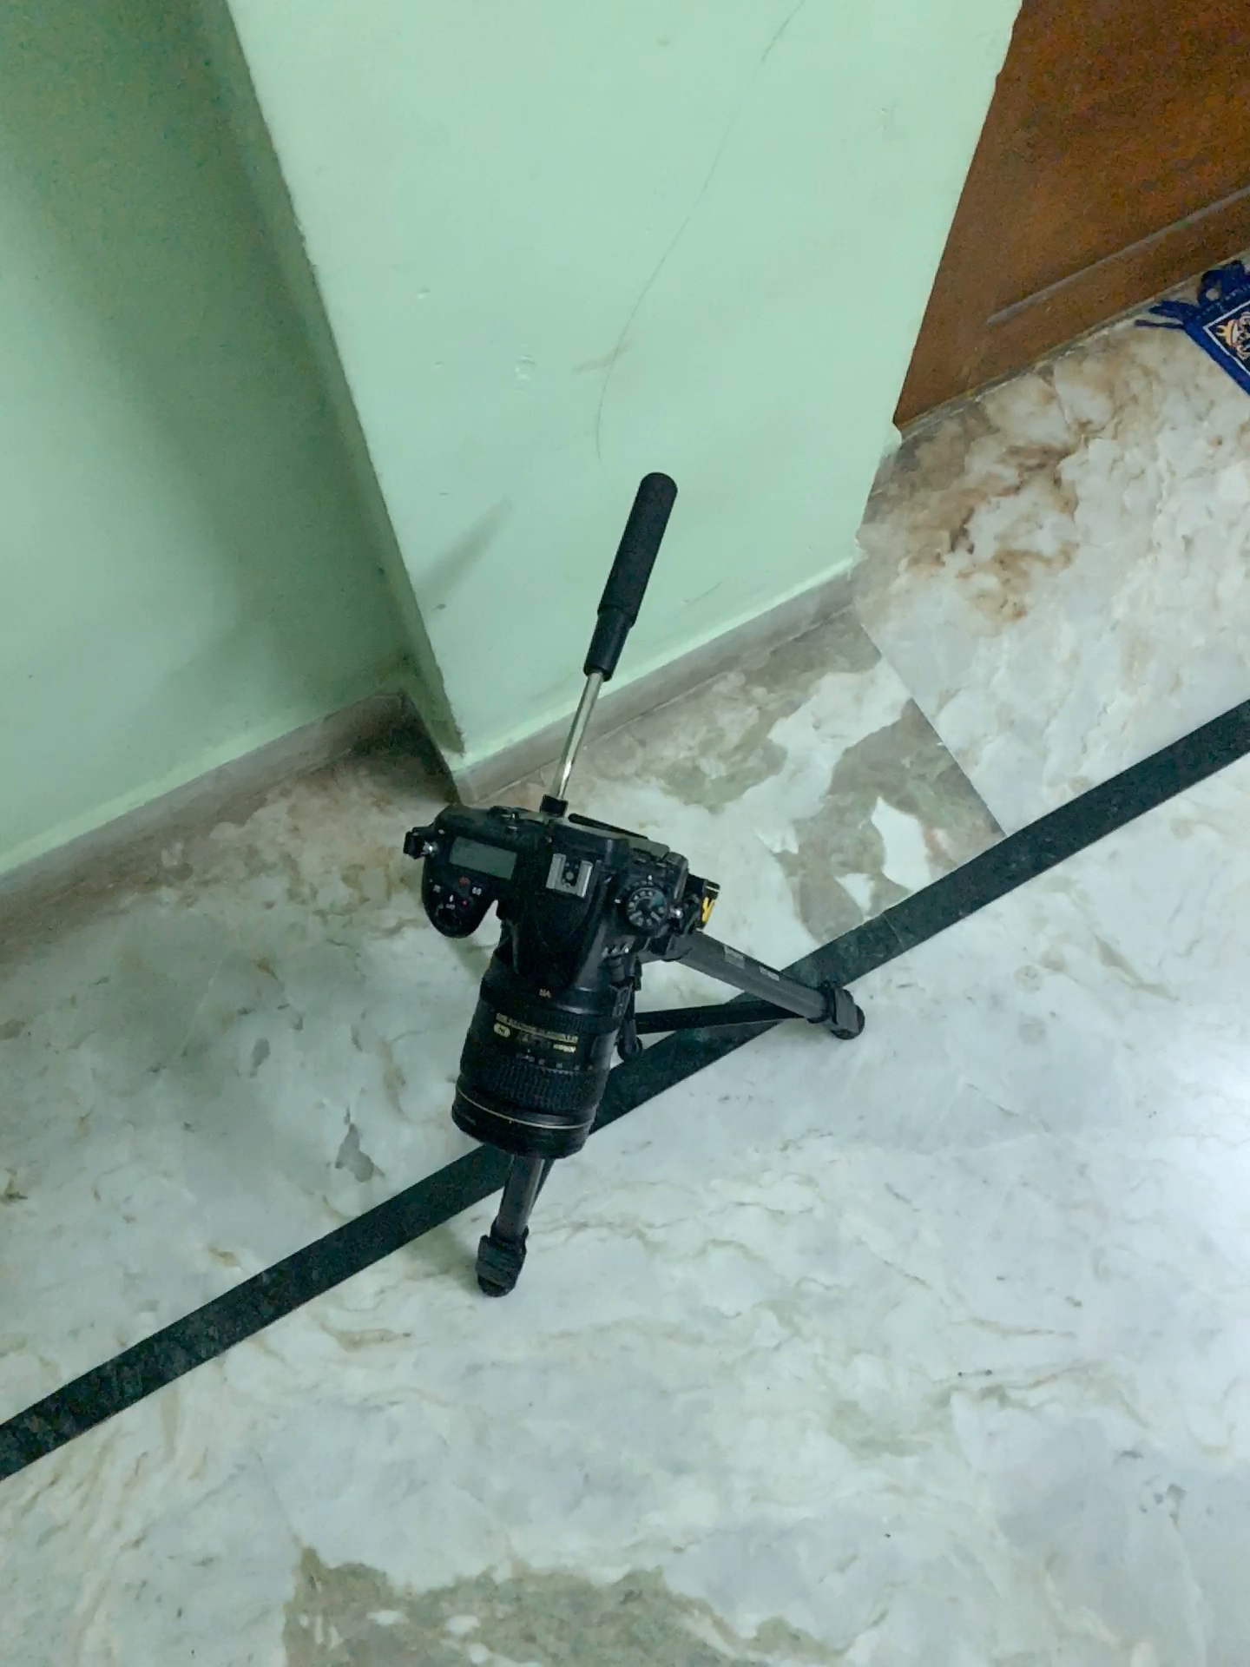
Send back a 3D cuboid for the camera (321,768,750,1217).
[{"bbox_3d":[-0.042,0.076,0.683,0.170,0.110,0.180,17,96,6],"label":"camera"}]
